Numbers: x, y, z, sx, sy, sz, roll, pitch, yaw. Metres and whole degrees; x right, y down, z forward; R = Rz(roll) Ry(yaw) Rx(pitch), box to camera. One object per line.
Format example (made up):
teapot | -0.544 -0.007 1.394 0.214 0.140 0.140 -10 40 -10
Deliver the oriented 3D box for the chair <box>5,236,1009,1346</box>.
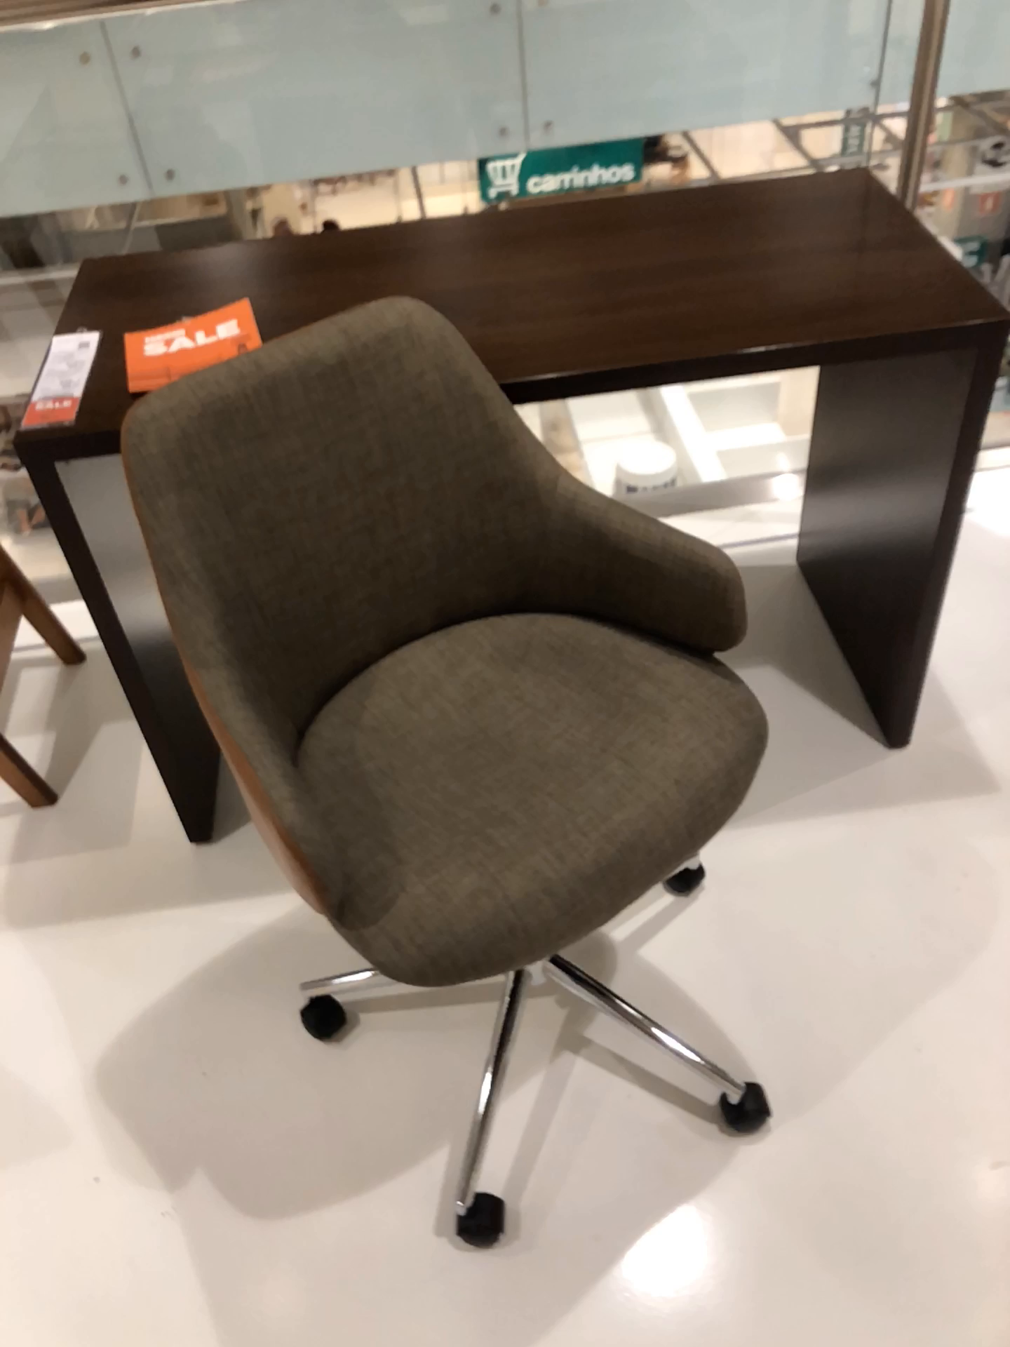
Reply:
chair | 0.026 0.130 1.263 0.612 0.883 0.703 -32 49 -25
